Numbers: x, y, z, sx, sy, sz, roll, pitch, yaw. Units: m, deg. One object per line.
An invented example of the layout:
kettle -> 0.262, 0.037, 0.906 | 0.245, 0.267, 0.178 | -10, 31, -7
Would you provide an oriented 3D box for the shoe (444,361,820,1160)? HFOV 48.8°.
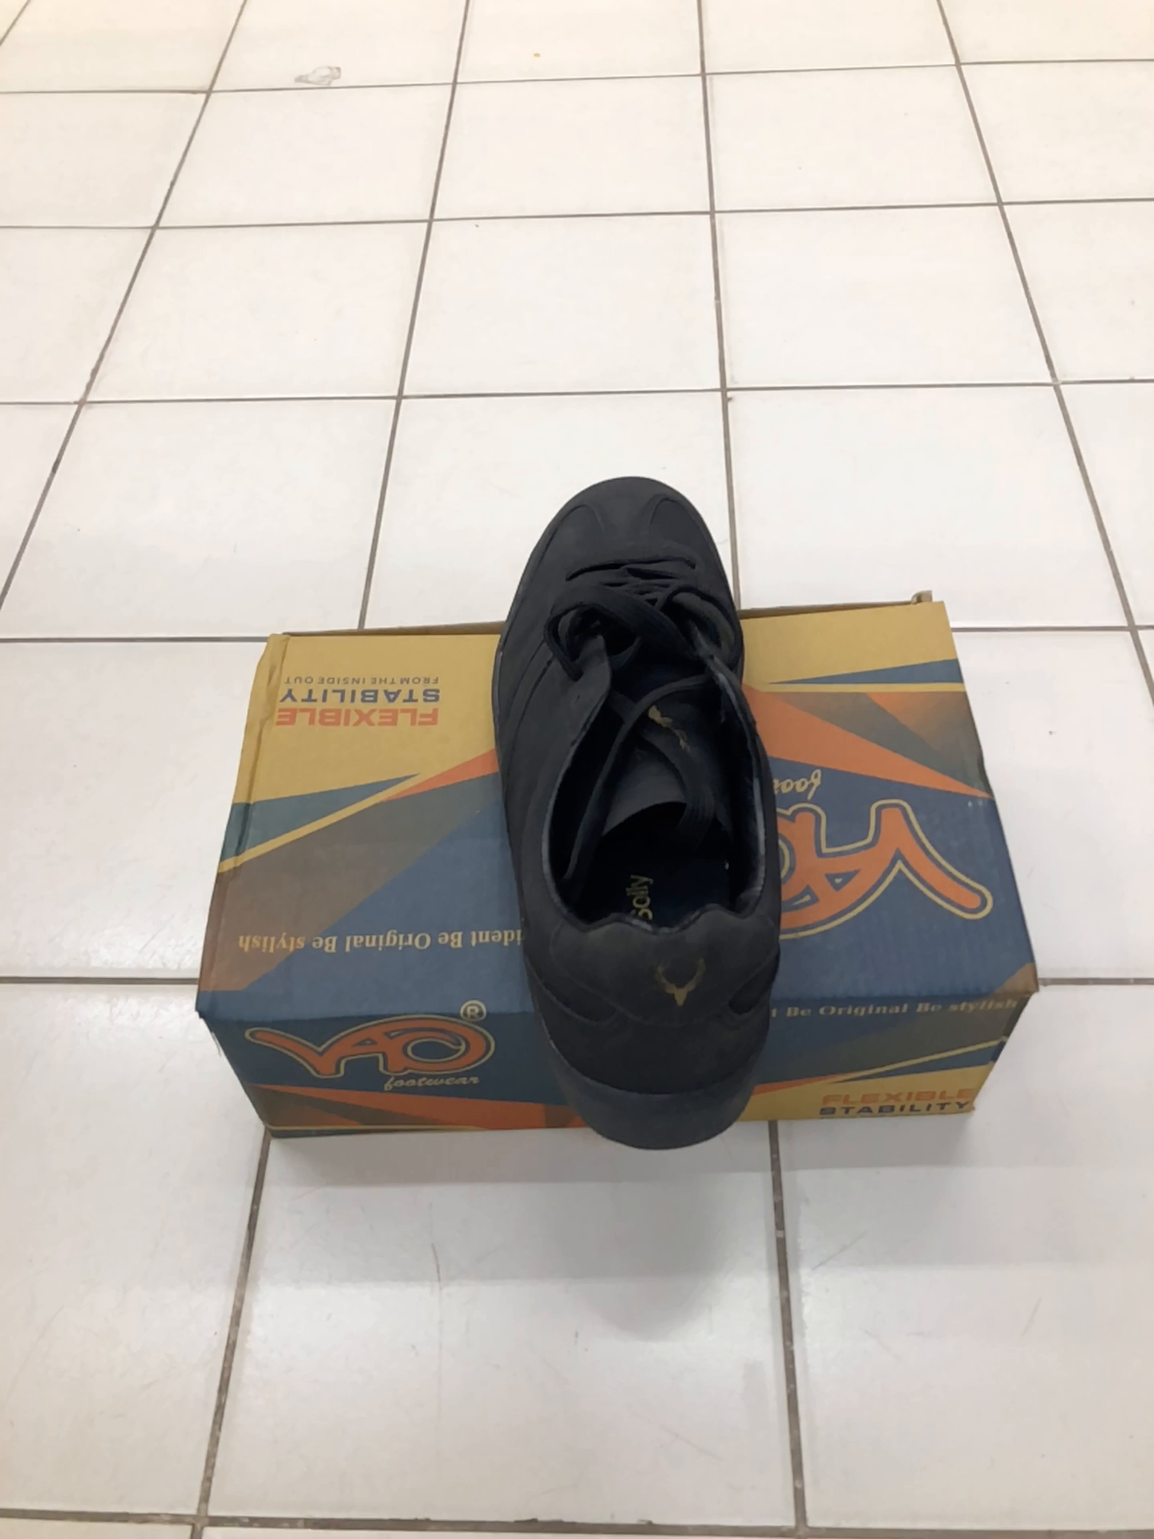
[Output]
shoe -> 0.009, -0.018, 0.414 | 0.090, 0.080, 0.261 | -3, 53, 0
